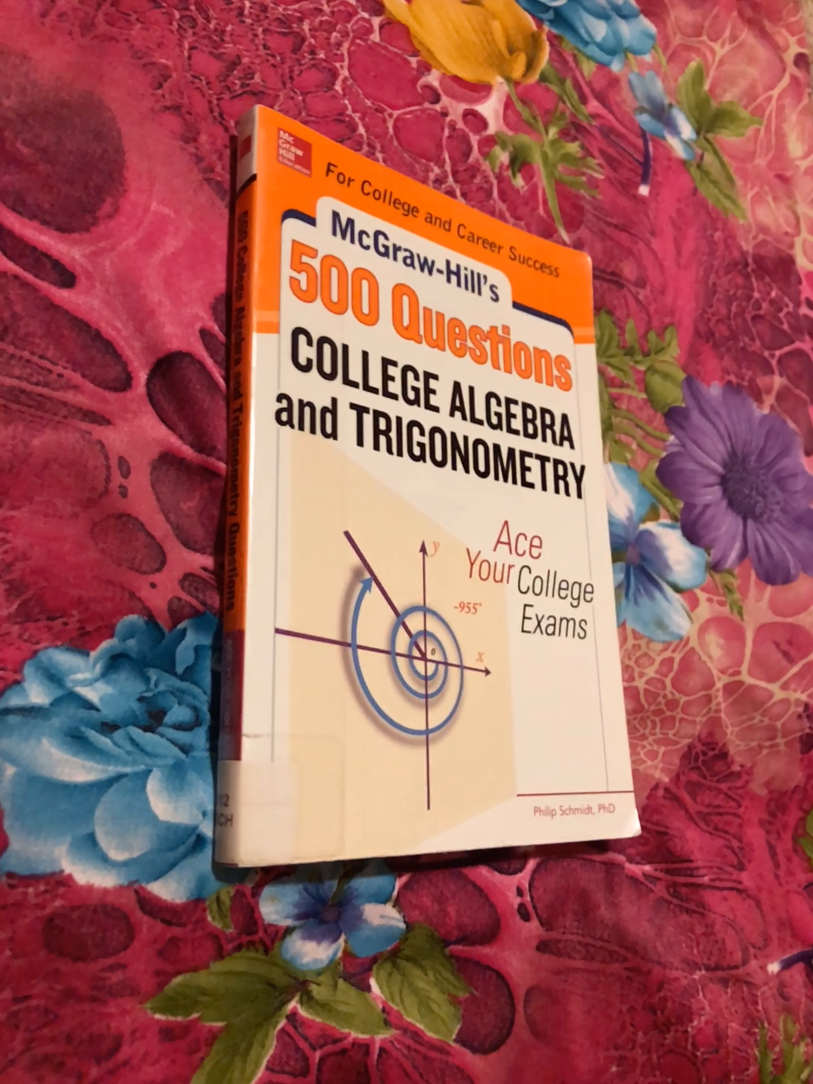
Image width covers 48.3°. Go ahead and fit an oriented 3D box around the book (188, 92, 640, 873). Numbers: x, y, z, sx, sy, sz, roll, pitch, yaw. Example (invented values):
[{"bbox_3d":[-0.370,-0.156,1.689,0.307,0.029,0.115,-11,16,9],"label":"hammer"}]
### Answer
[{"bbox_3d":[0.011,-0.014,0.299,0.157,0.022,0.220,10,72,-37],"label":"book"}]
